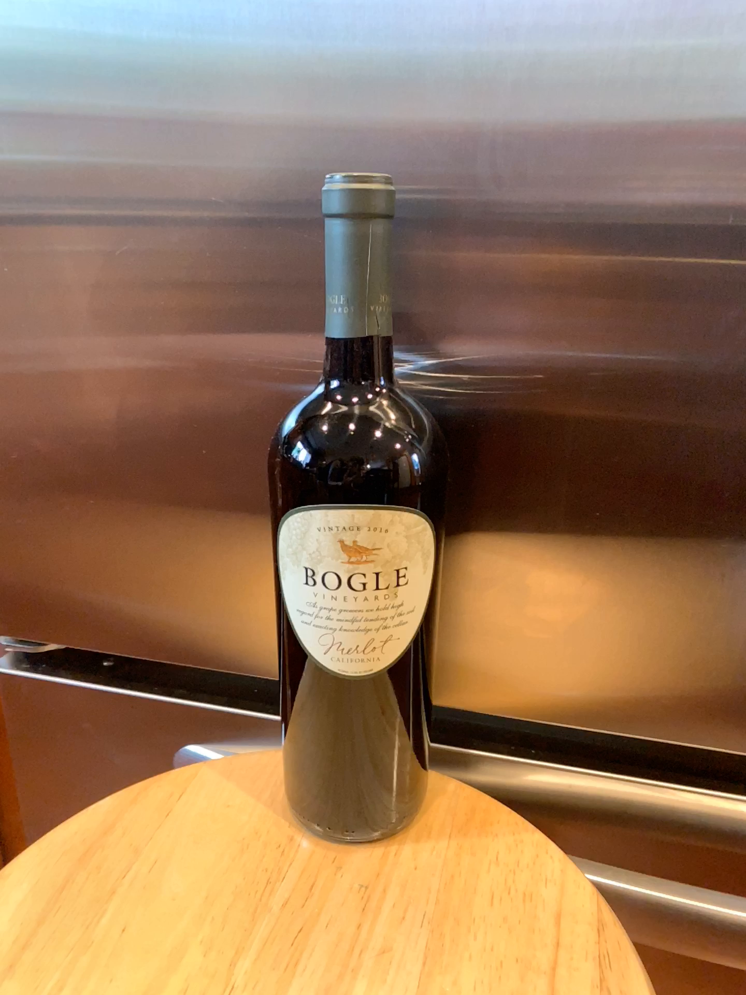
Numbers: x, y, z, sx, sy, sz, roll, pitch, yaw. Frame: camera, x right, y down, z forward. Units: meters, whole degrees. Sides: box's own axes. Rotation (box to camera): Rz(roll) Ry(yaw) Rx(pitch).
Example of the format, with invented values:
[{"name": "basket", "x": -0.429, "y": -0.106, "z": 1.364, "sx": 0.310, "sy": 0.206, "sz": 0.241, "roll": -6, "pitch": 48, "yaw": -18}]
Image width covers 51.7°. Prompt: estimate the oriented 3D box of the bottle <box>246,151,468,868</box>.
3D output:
[{"name": "bottle", "x": -0.012, "y": 0.014, "z": 0.364, "sx": 0.080, "sy": 0.319, "sz": 0.080, "roll": 1, "pitch": 19, "yaw": 0}]
